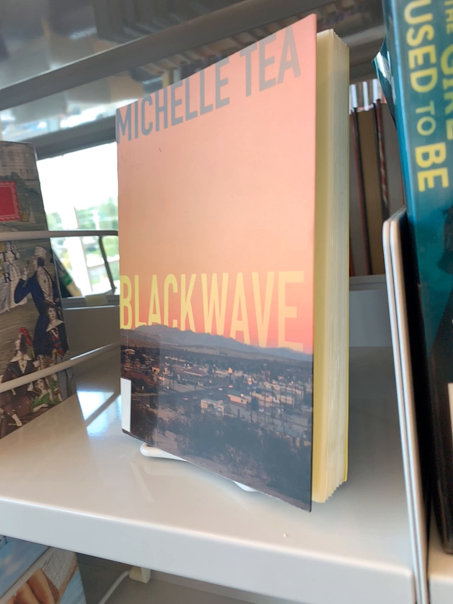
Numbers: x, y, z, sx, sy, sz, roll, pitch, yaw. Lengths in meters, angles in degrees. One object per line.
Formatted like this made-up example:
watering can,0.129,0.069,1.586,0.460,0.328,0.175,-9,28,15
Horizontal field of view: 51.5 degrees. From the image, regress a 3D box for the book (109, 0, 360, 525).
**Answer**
book,-0.005,-0.016,0.245,0.036,0.201,0.147,-3,4,-43
